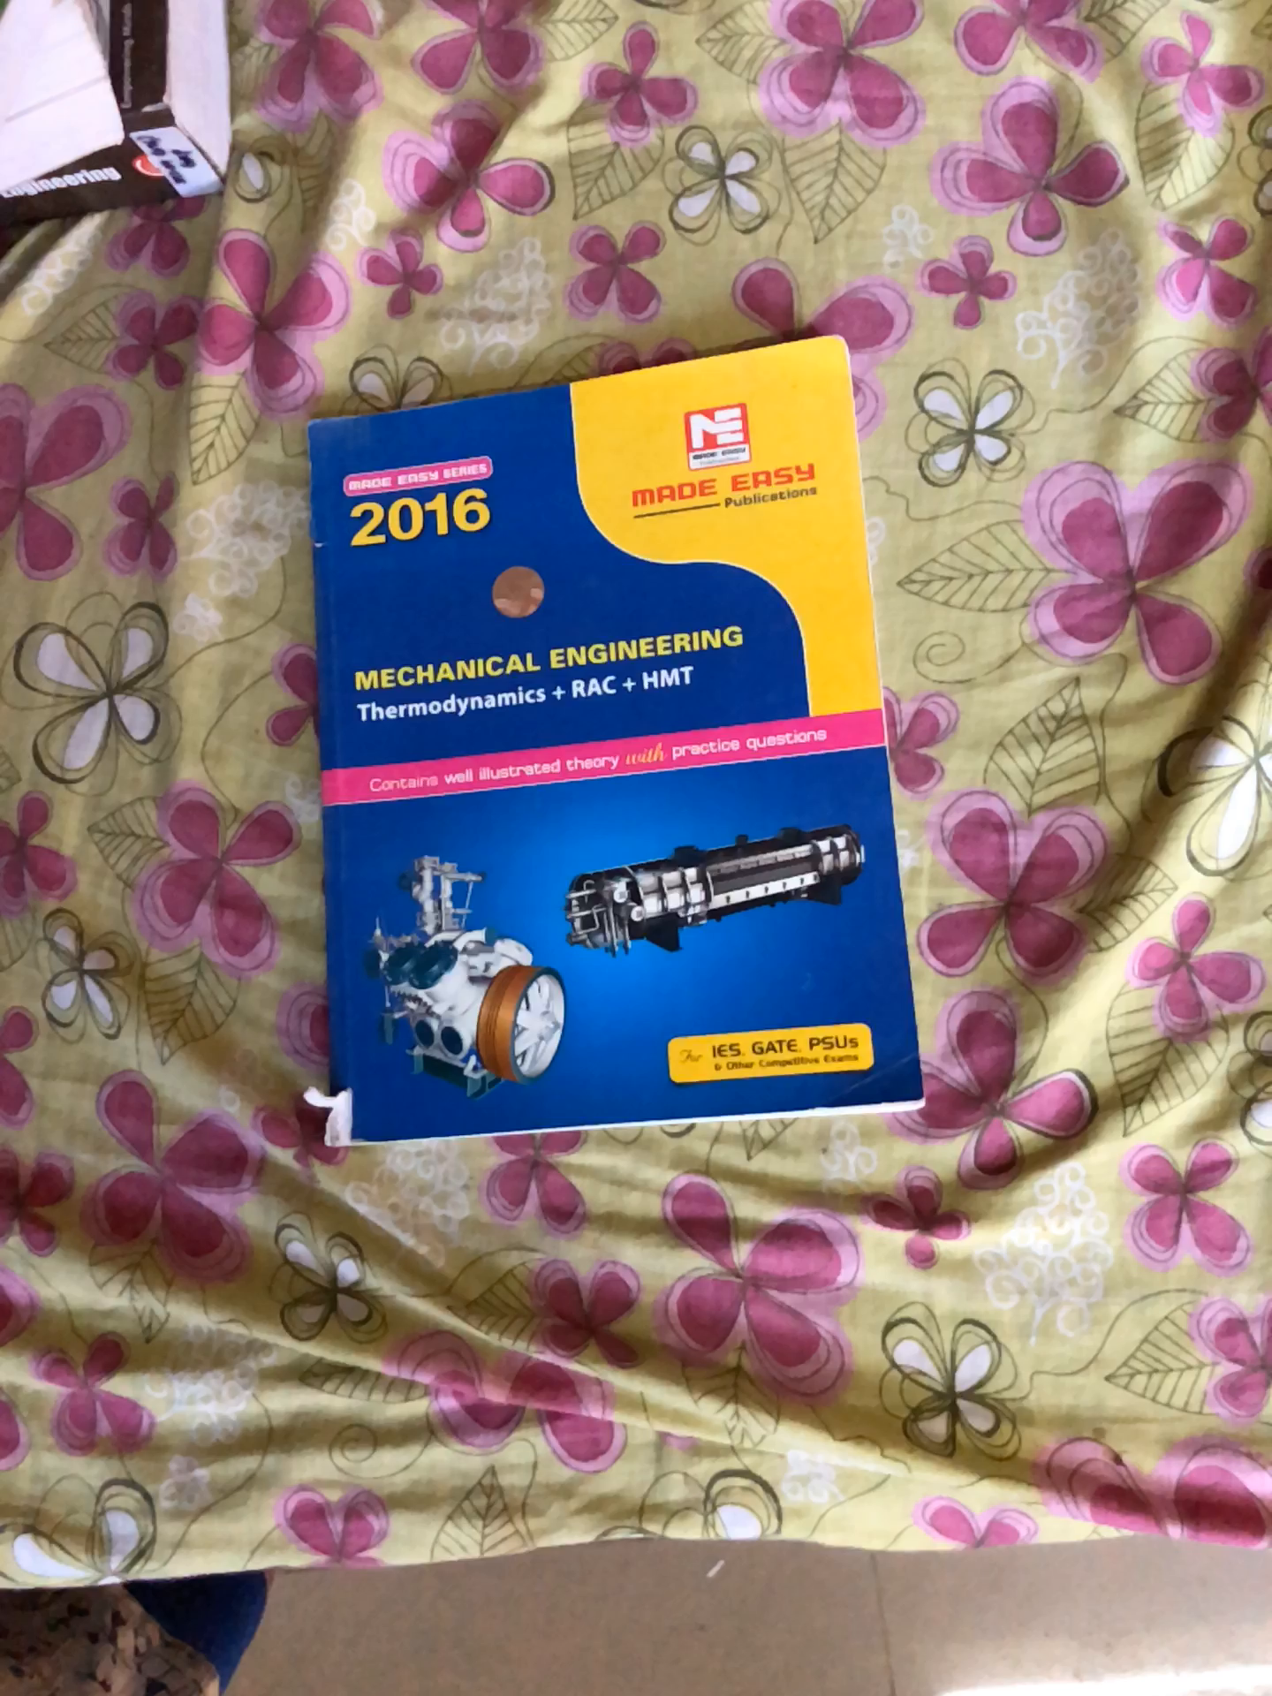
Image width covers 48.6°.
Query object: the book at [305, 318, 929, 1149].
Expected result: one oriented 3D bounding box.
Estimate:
[{"bbox_3d":[-0.013,-0.038,0.500,0.200,0.030,0.269,-7,80,12],"label":"book"}]
